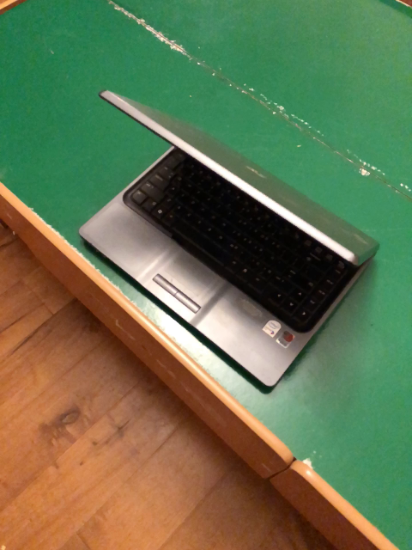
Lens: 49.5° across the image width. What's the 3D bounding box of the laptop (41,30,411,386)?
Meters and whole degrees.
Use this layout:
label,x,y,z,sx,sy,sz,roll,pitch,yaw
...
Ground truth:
label,x,y,z,sx,sy,sz,roll,pitch,yaw
laptop,0.029,-0.080,0.520,0.316,0.171,0.227,37,69,16
